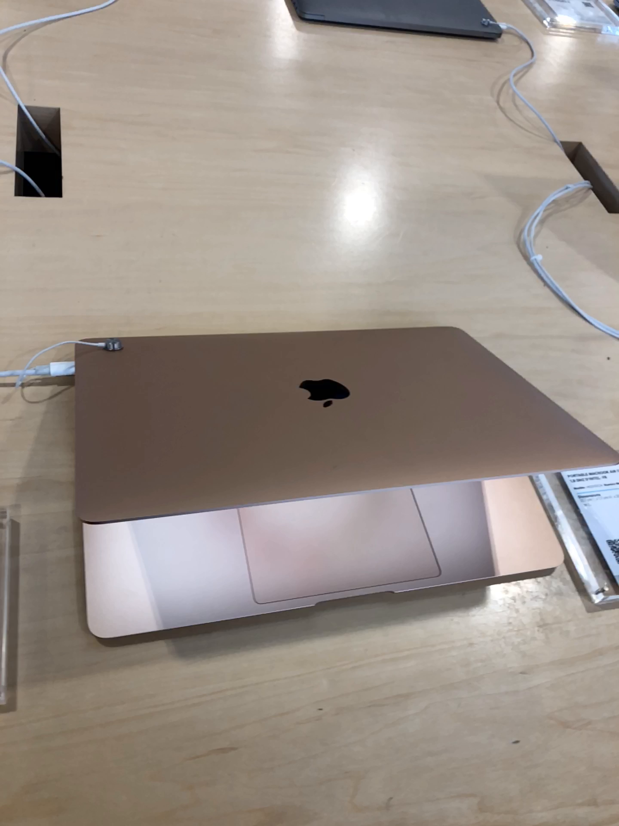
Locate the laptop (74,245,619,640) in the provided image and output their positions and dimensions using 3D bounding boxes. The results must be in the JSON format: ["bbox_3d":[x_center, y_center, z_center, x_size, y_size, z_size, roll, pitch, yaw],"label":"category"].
[{"bbox_3d":[0.010,-0.001,0.424,0.288,0.093,0.203,-4,53,-17],"label":"laptop"}]
